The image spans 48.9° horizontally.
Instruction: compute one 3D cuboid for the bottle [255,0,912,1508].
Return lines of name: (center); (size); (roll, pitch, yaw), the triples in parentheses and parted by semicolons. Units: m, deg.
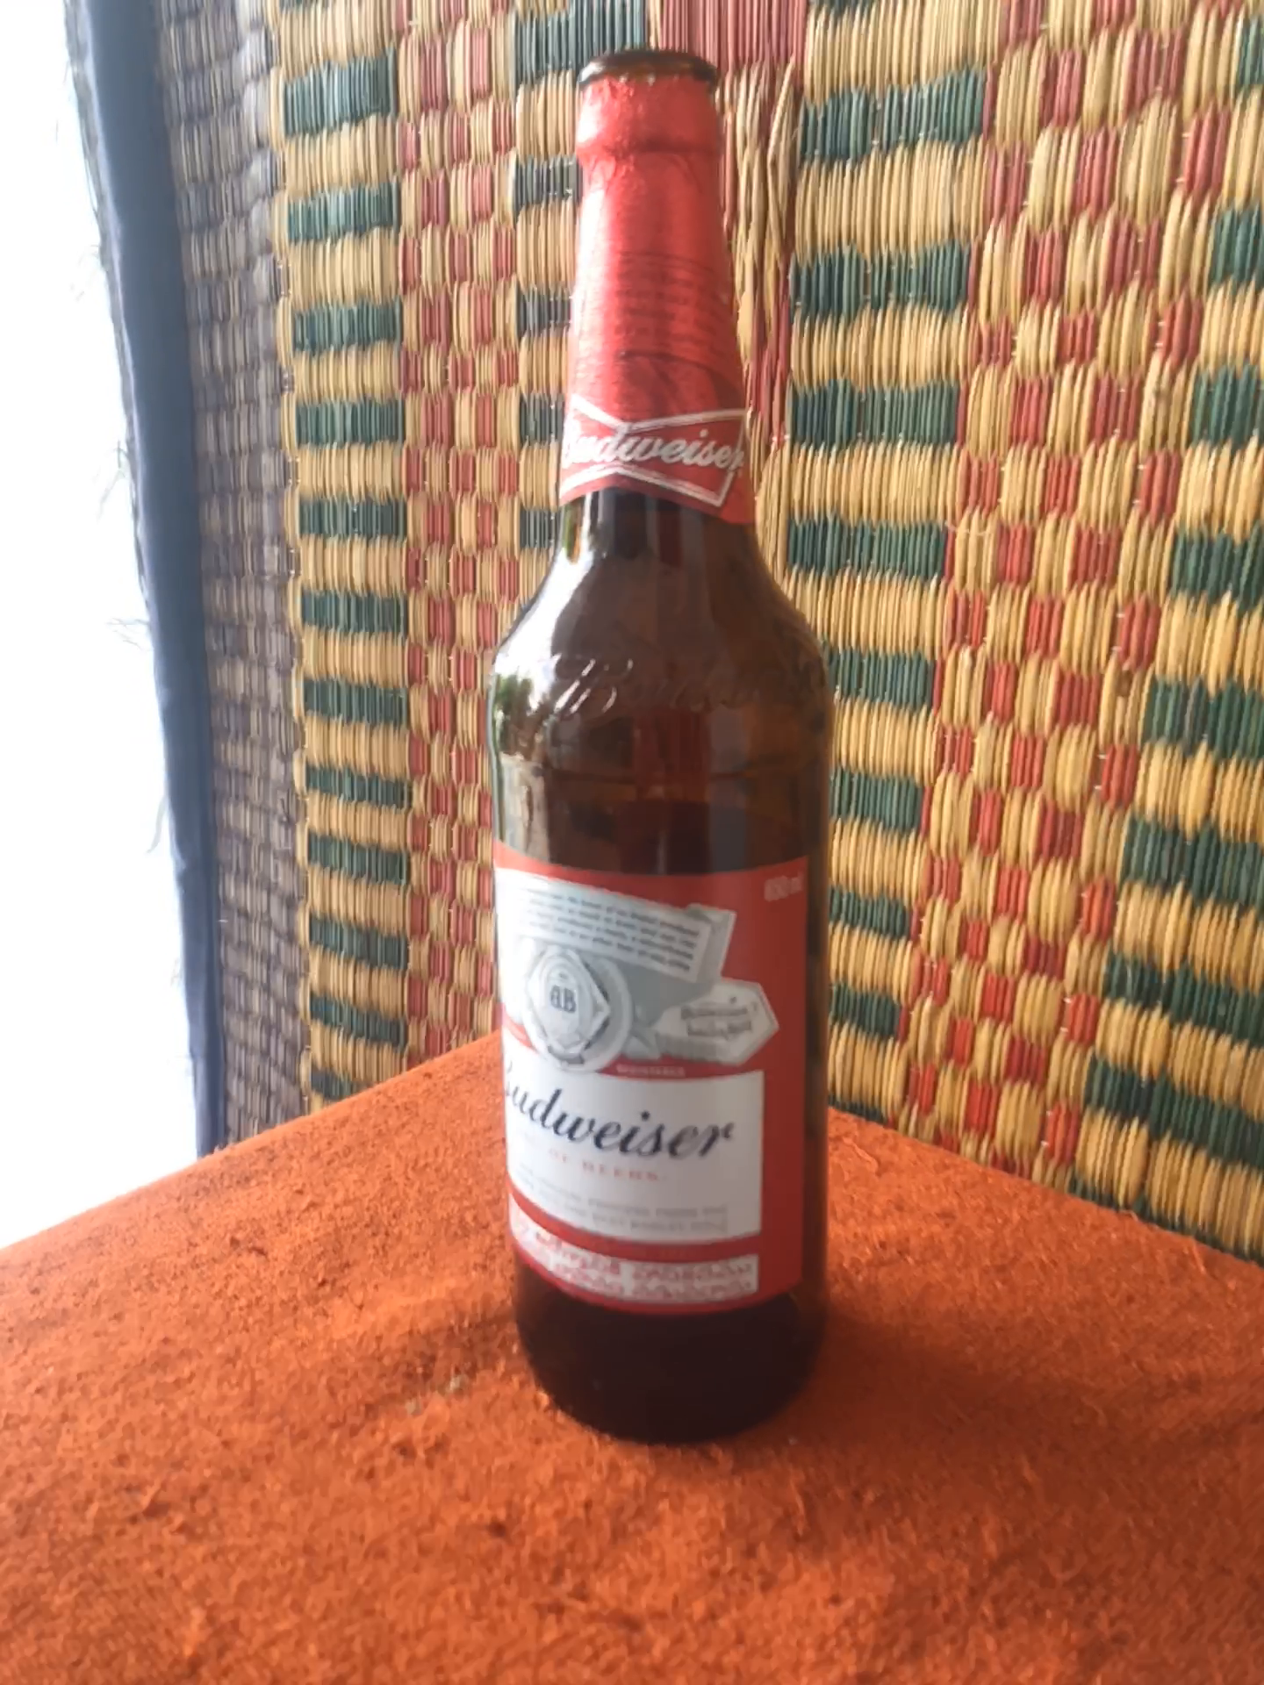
bottle: (-0.005, -0.013, 0.280); (0.090, 0.259, 0.070); (13, 23, 39)
